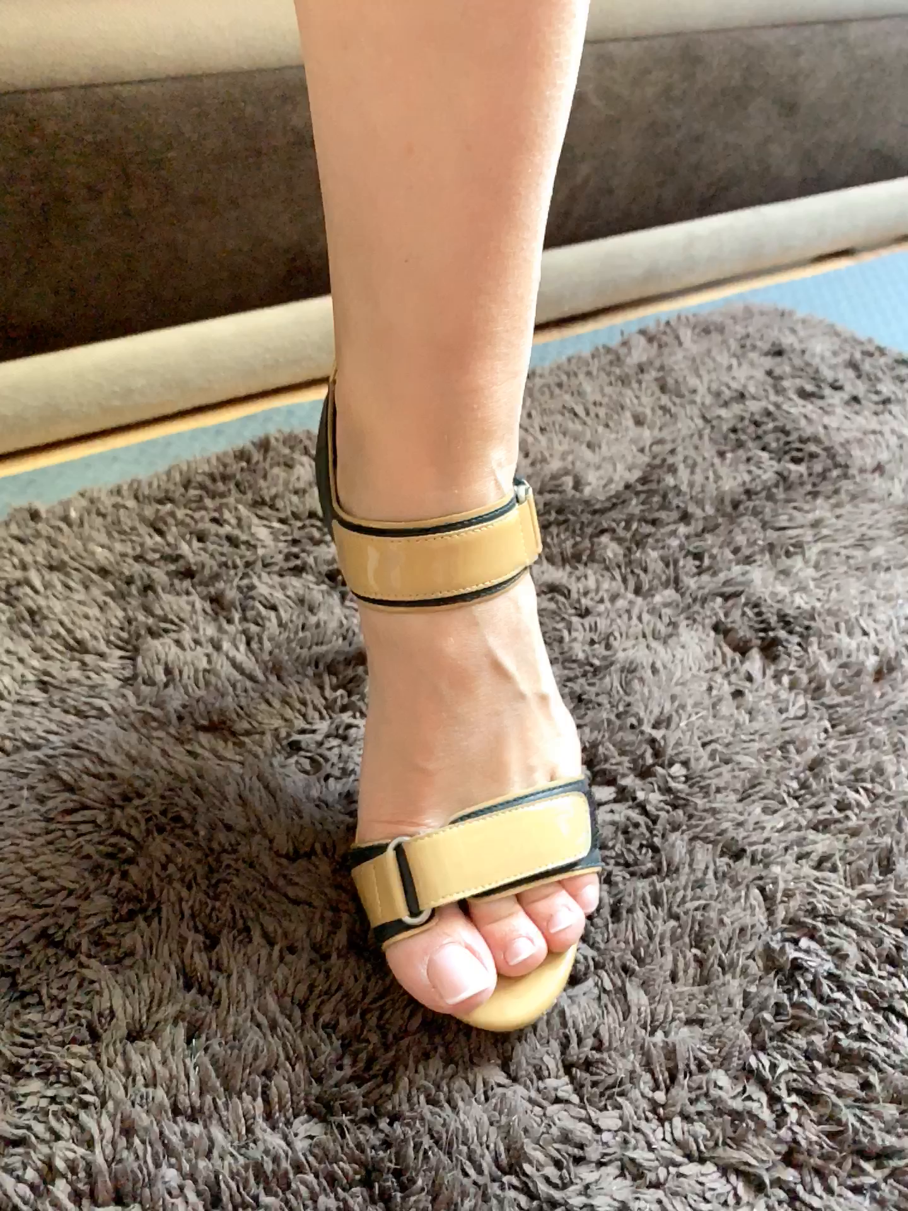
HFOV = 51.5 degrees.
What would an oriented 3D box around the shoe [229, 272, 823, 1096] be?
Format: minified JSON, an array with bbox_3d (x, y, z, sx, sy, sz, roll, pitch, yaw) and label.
[{"bbox_3d":[-0.003,0.009,0.298,0.090,0.149,0.201,-10,42,-15],"label":"shoe"}]
